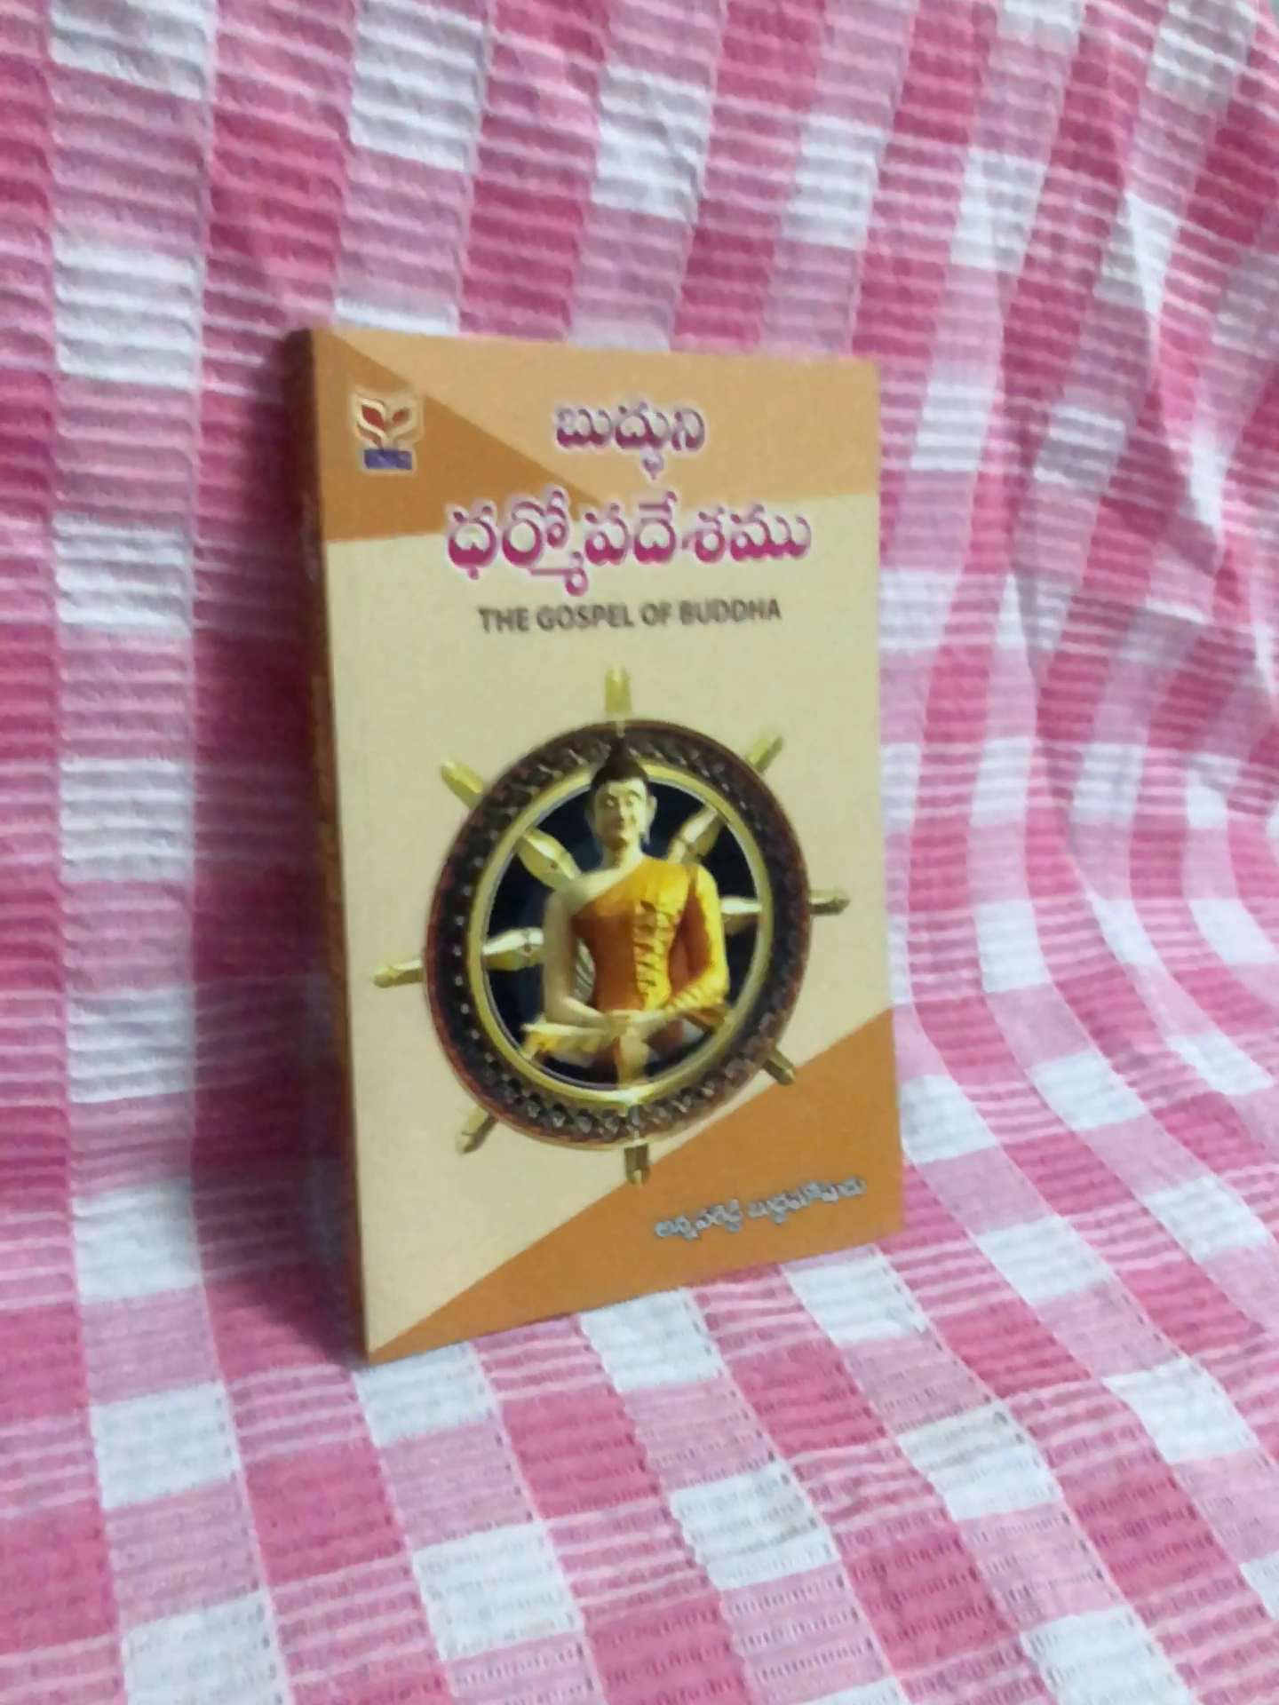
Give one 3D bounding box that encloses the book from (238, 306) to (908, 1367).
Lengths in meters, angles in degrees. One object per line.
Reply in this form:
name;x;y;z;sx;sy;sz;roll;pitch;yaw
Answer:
book;-0.007;-0.006;0.315;0.140;0.210;0.020;-6;9;-23
